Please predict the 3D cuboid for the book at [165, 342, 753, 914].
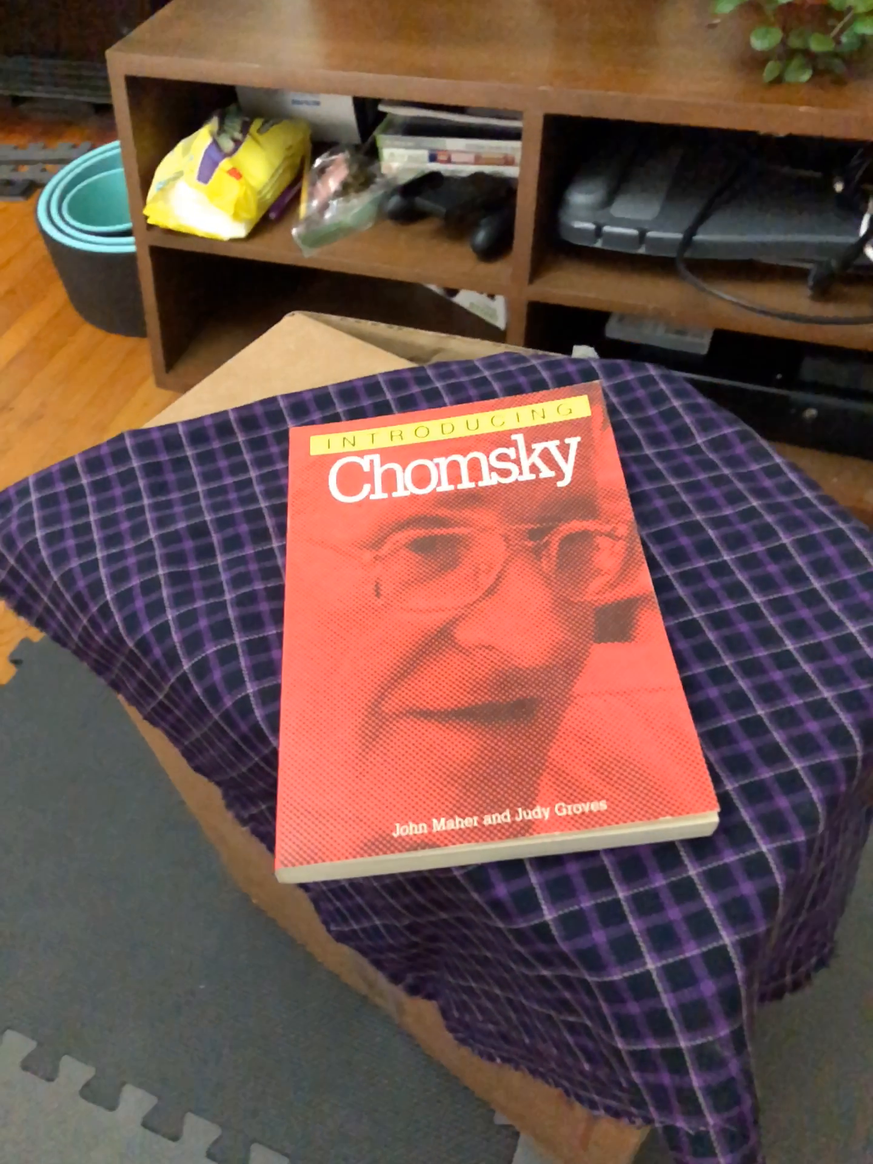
[{"bbox_3d":[-0.003,-0.003,0.378,0.180,0.020,0.241,-7,50,1],"label":"book"}]
